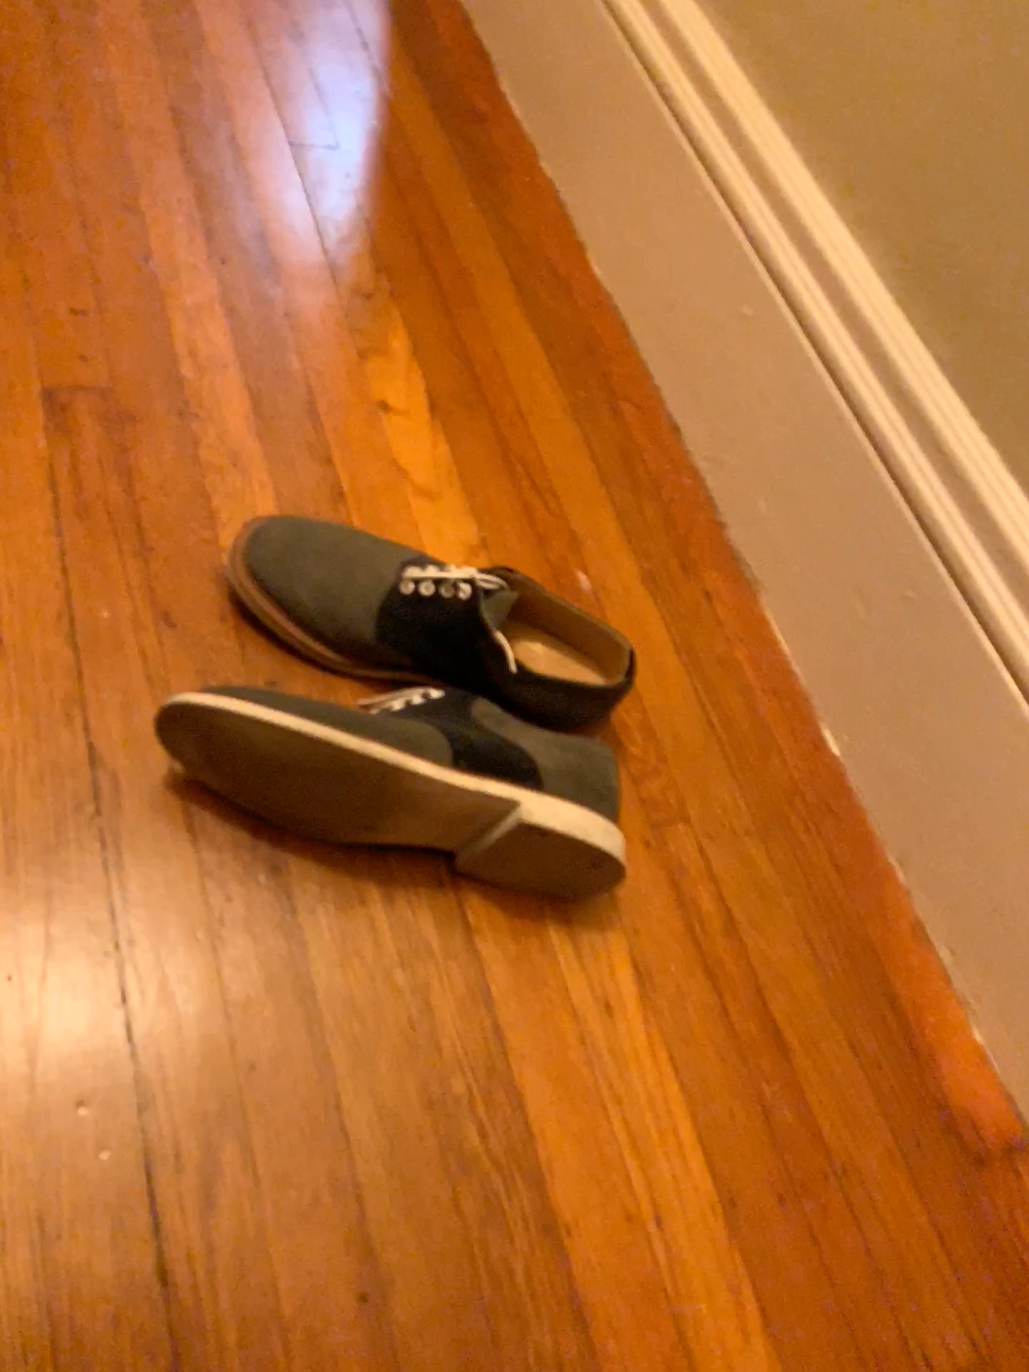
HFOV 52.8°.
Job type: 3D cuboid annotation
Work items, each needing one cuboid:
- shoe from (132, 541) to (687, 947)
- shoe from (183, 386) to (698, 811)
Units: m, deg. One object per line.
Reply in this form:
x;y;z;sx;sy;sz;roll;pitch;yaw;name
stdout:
-0.064;0.044;0.657;0.310;0.130;0.120;18;52;-8;shoe
-0.050;-0.059;0.706;0.310;0.100;0.130;28;53;-1;shoe
